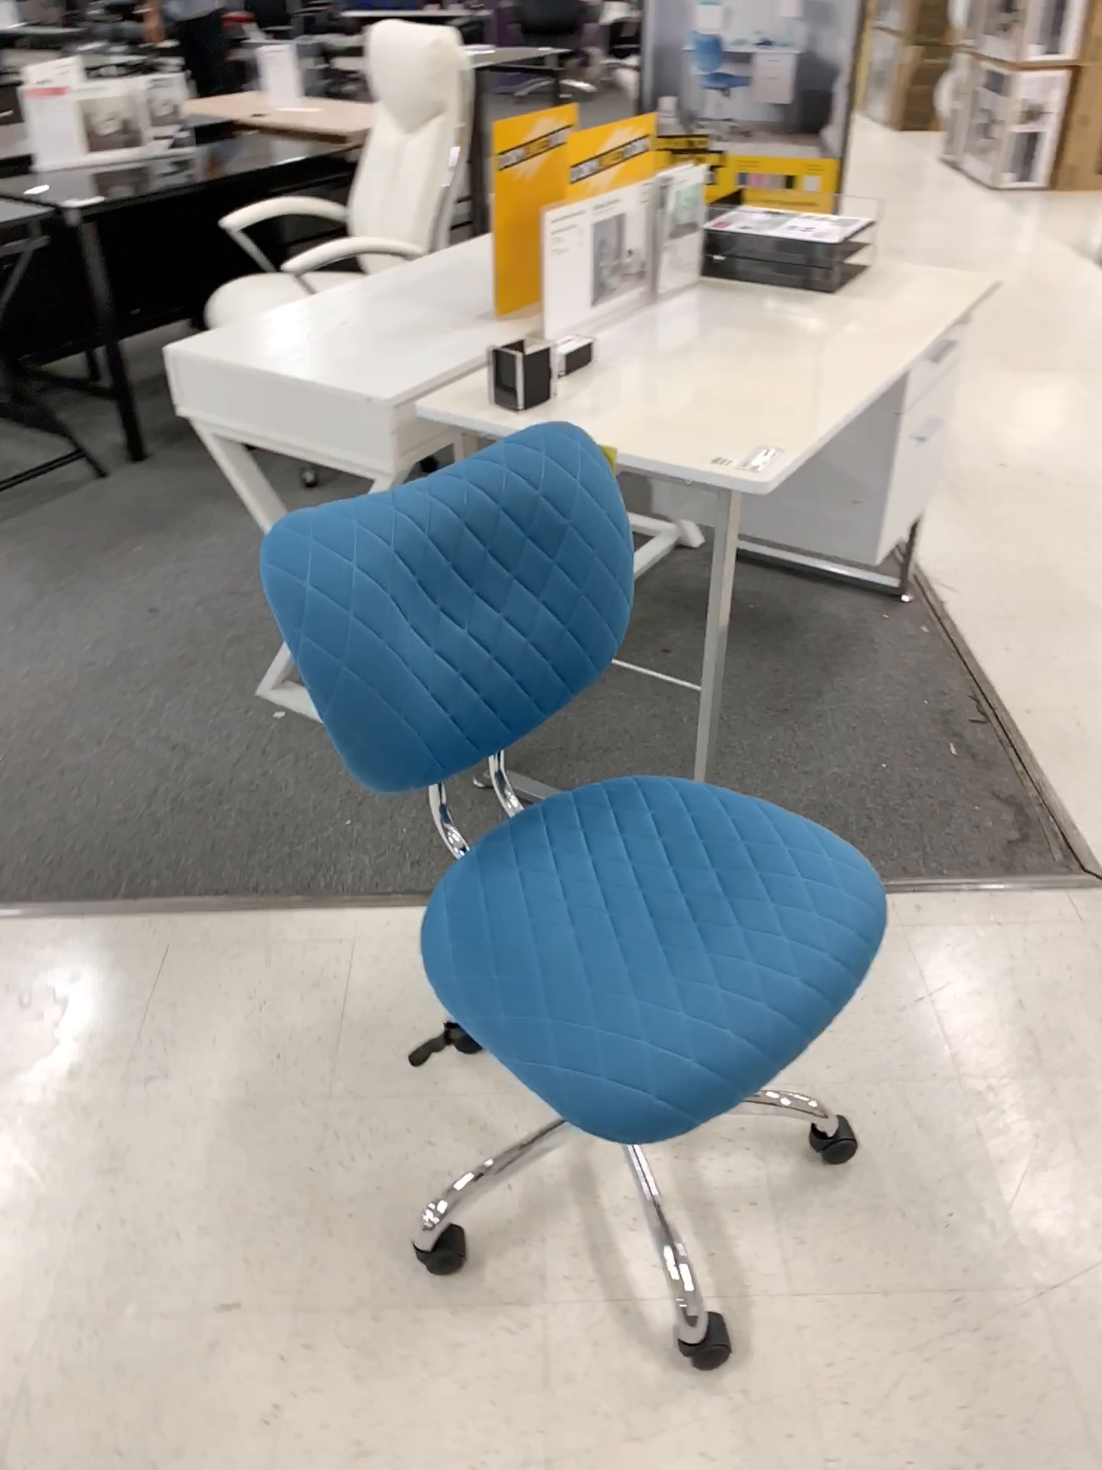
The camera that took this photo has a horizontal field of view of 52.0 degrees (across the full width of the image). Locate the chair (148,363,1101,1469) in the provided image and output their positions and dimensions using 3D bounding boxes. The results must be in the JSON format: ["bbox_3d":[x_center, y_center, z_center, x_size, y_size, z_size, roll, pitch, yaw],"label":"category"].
[{"bbox_3d":[0.073,0.172,1.248,0.611,0.875,0.632,-27,44,-31],"label":"chair"}]
